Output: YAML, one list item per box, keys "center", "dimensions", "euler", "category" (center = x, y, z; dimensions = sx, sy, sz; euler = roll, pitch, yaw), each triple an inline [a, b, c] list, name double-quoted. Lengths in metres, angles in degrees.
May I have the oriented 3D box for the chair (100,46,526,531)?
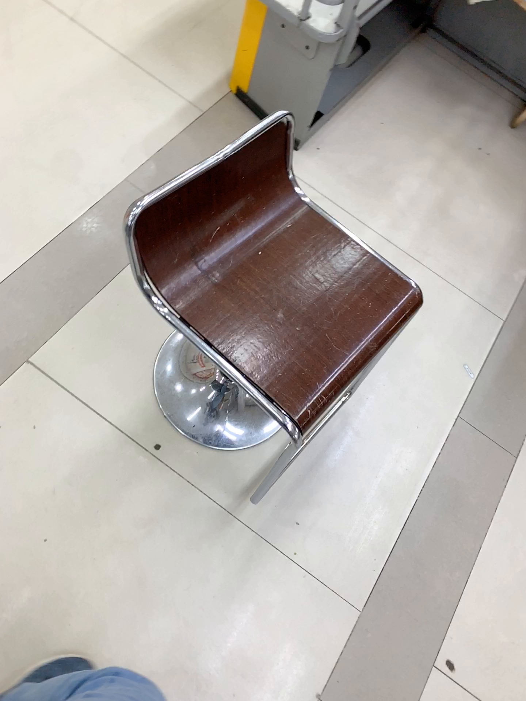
- center: [0.042, -0.035, 1.017]
  dimensions: [0.480, 0.707, 0.442]
  euler: [43, 63, 7]
  category: "chair"
